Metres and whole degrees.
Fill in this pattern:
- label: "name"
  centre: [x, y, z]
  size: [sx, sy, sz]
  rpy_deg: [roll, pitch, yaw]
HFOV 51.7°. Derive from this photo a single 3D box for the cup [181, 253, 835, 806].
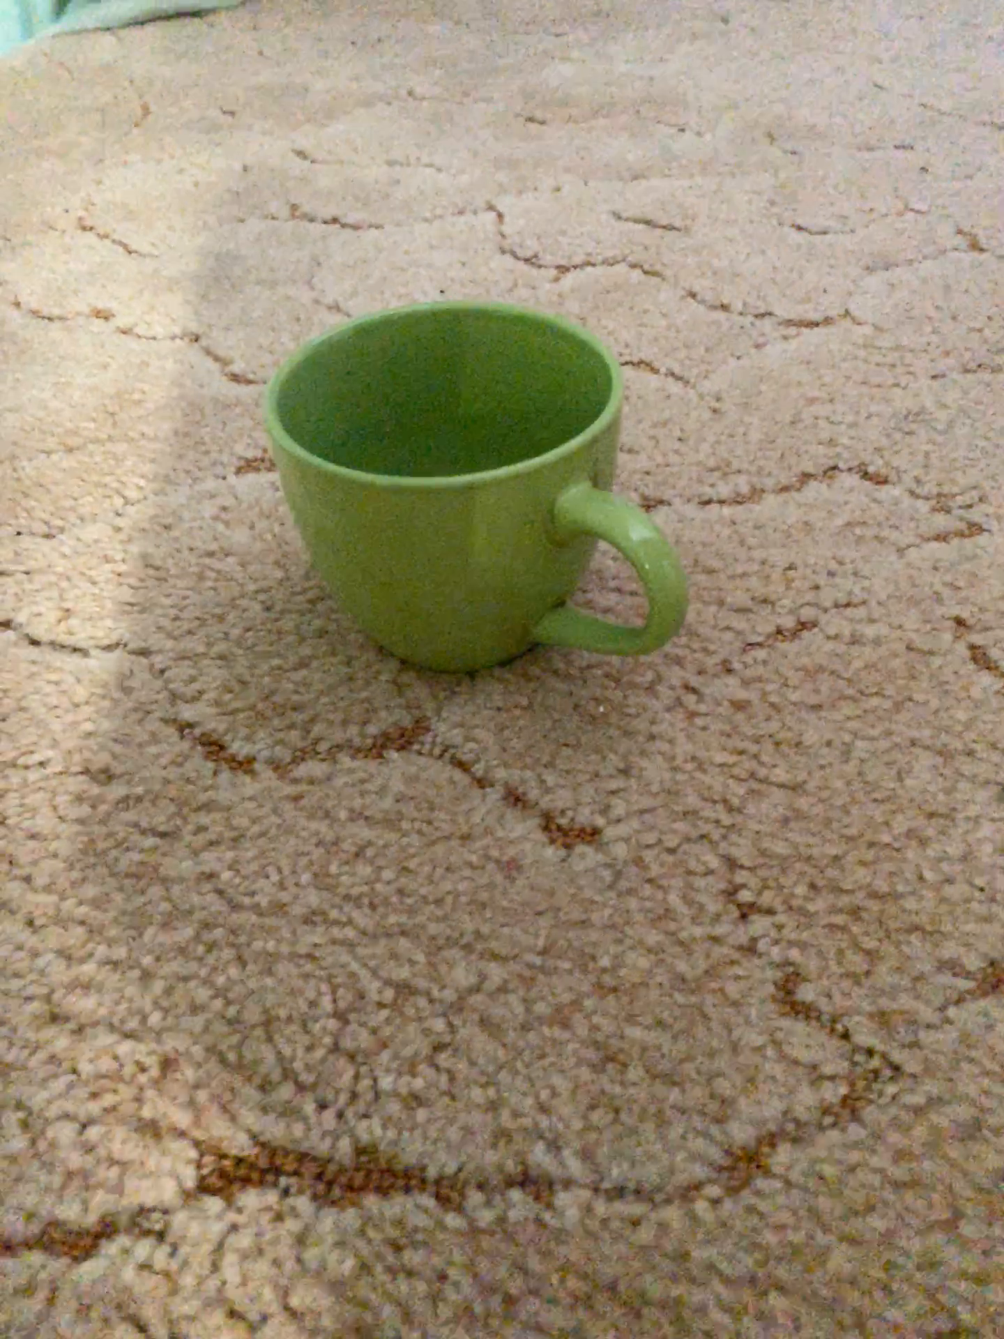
- label: "cup"
  centre: [-0.002, -0.044, 0.254]
  size: [0.090, 0.059, 0.121]
  rpy_deg: [-31, 51, -30]
